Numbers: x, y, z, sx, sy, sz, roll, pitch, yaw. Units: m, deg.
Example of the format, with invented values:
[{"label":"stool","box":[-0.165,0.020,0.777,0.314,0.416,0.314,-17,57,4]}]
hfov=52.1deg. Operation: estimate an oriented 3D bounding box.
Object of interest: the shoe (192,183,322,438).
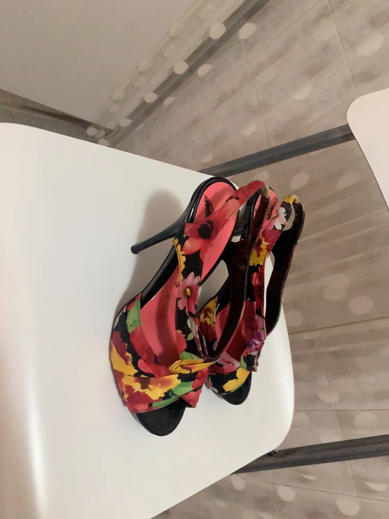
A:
[{"label":"shoe","box":[0.058,0.041,0.377,0.080,0.085,0.205,-2,90,-42]}]

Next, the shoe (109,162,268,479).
[{"label":"shoe","box":[-0.003,0.041,0.313,0.083,0.073,0.205,8,84,-40]}]
